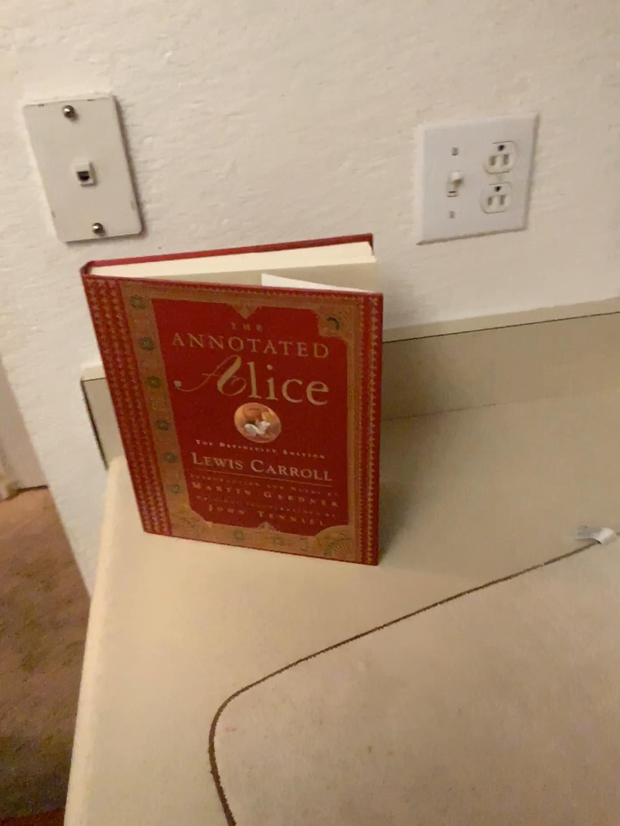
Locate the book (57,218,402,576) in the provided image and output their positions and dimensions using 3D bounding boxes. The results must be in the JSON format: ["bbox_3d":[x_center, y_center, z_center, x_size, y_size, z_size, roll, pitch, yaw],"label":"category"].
[{"bbox_3d":[-0.042,-0.014,0.593,0.230,0.260,0.150,2,36,9],"label":"book"}]
